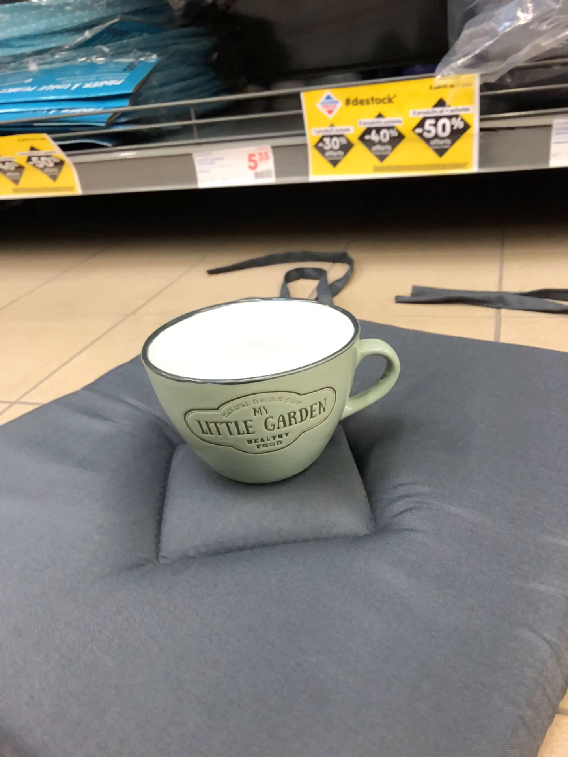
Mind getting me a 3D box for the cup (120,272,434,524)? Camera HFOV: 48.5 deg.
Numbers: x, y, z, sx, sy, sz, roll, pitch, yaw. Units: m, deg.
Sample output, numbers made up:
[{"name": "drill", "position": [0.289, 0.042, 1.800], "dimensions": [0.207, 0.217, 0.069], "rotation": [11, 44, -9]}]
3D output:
[{"name": "cup", "position": [-0.004, 0.003, 0.348], "dimensions": [0.140, 0.070, 0.121], "rotation": [-9, 27, -2]}]
